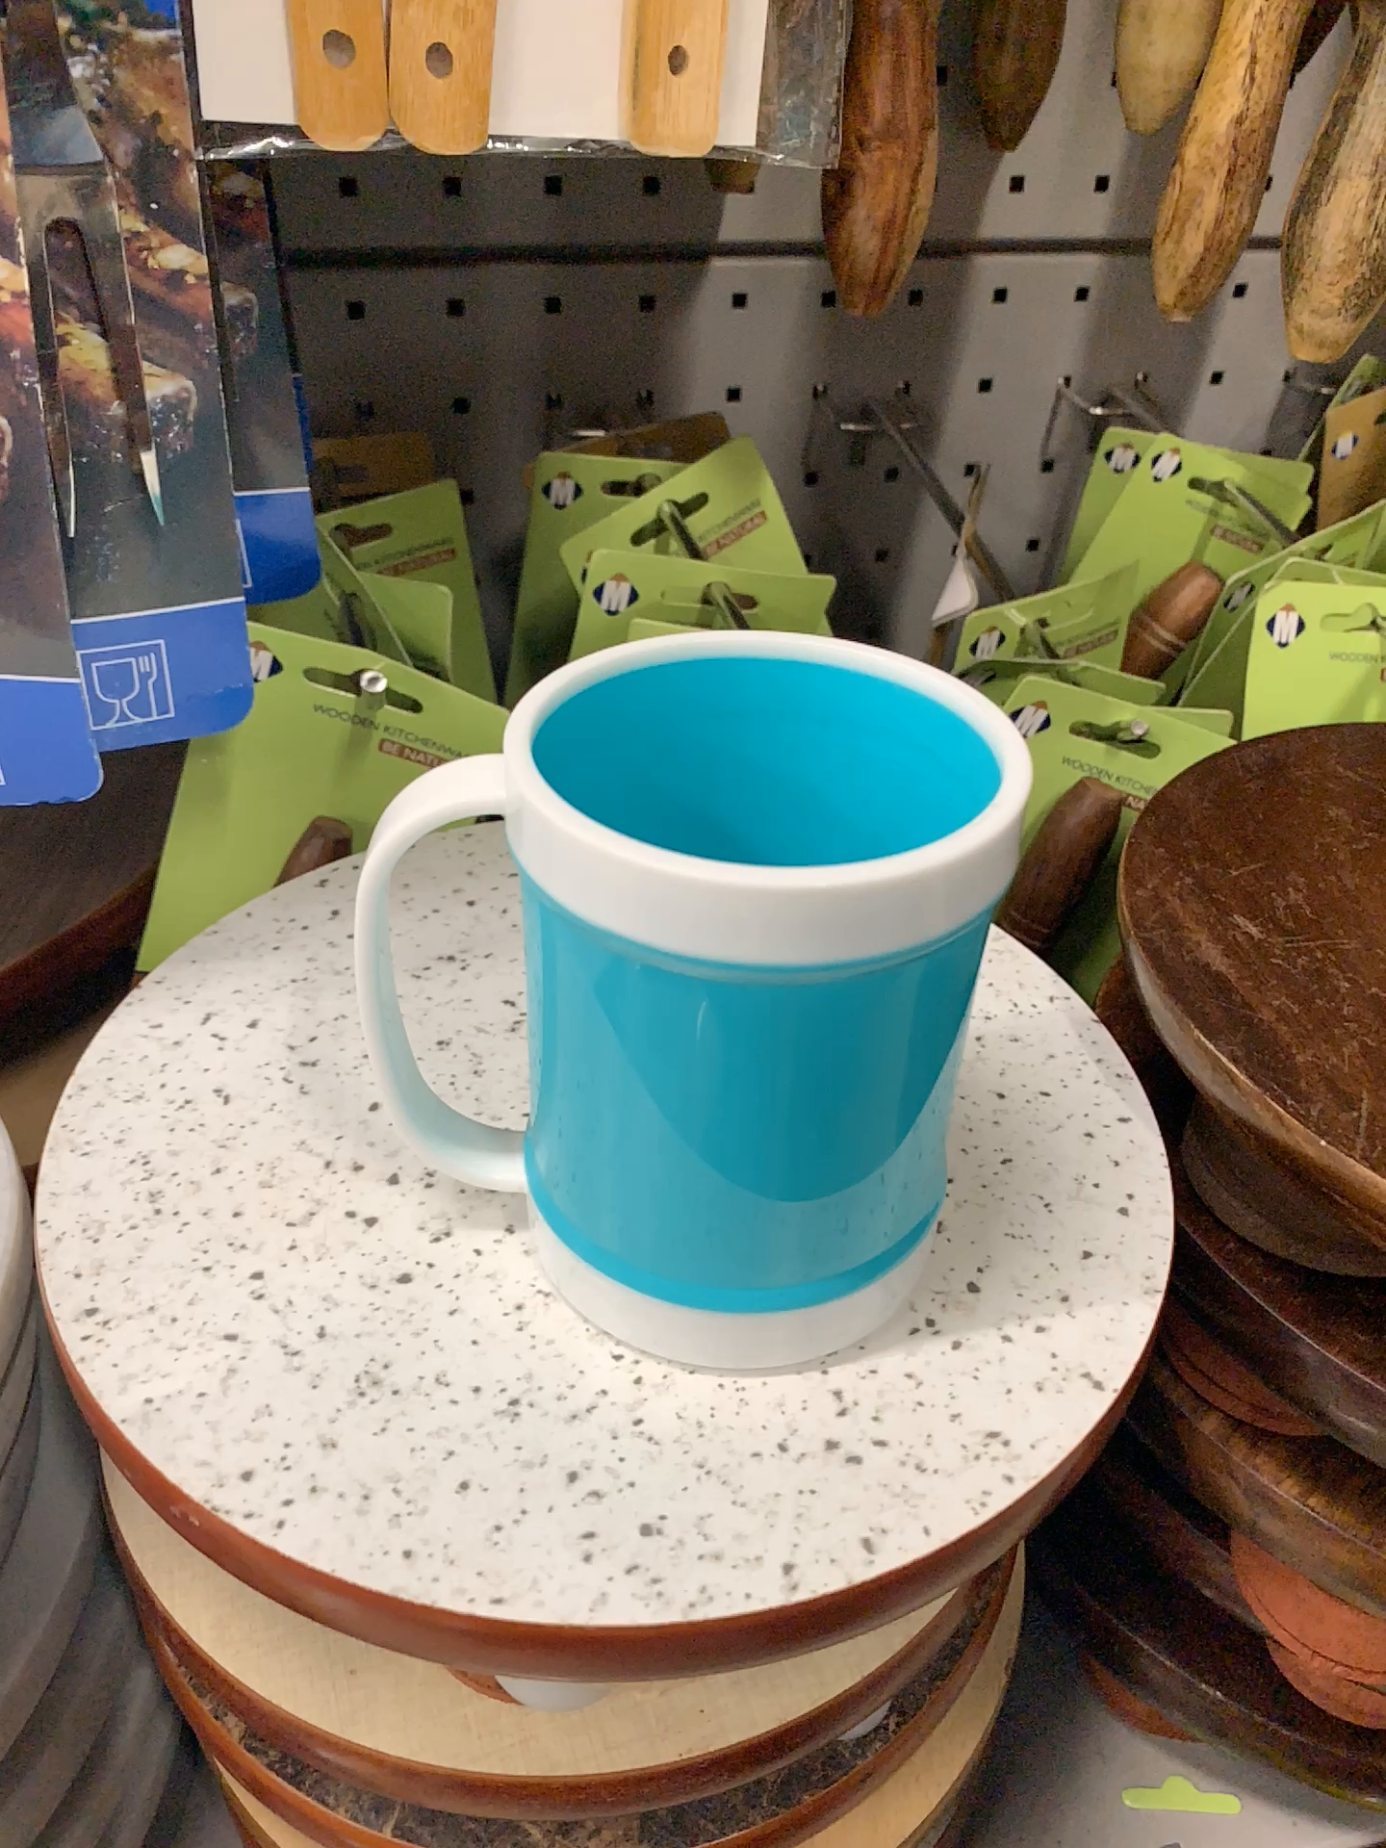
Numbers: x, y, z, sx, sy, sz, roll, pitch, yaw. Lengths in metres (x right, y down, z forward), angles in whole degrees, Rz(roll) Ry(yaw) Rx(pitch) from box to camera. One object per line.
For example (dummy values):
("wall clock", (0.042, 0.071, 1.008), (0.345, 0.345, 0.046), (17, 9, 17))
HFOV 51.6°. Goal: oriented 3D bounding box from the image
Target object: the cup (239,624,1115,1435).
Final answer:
("cup", (-0.004, 0.018, 0.244), (0.110, 0.110, 0.080), (1, 34, -1))
